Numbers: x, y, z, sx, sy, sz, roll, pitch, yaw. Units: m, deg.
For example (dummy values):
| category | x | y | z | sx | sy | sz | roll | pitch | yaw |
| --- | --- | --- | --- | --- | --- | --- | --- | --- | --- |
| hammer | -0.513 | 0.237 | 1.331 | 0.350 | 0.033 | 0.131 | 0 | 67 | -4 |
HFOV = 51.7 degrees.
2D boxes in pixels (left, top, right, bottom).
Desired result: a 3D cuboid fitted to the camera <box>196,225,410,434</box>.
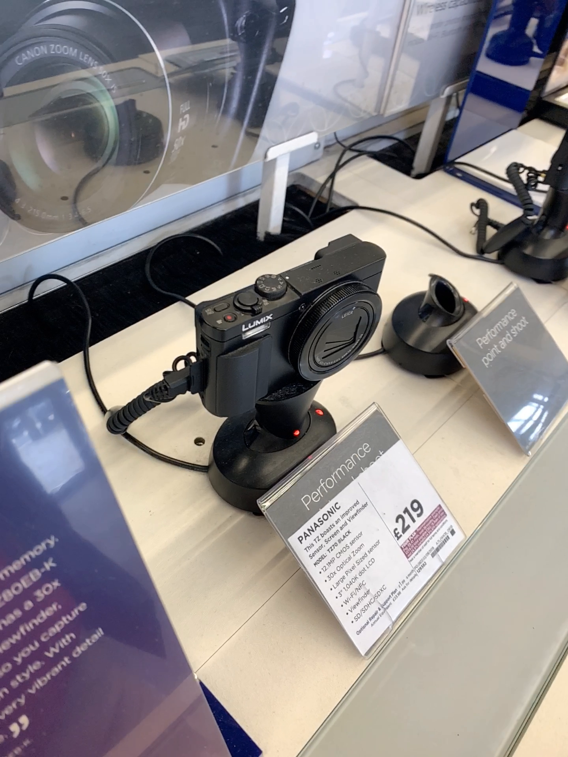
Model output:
| category | x | y | z | sx | sy | sz | roll | pitch | yaw |
| --- | --- | --- | --- | --- | --- | --- | --- | --- | --- |
| camera | 0.009 | -0.027 | 0.305 | 0.110 | 0.069 | 0.030 | -27 | 56 | -30 |
